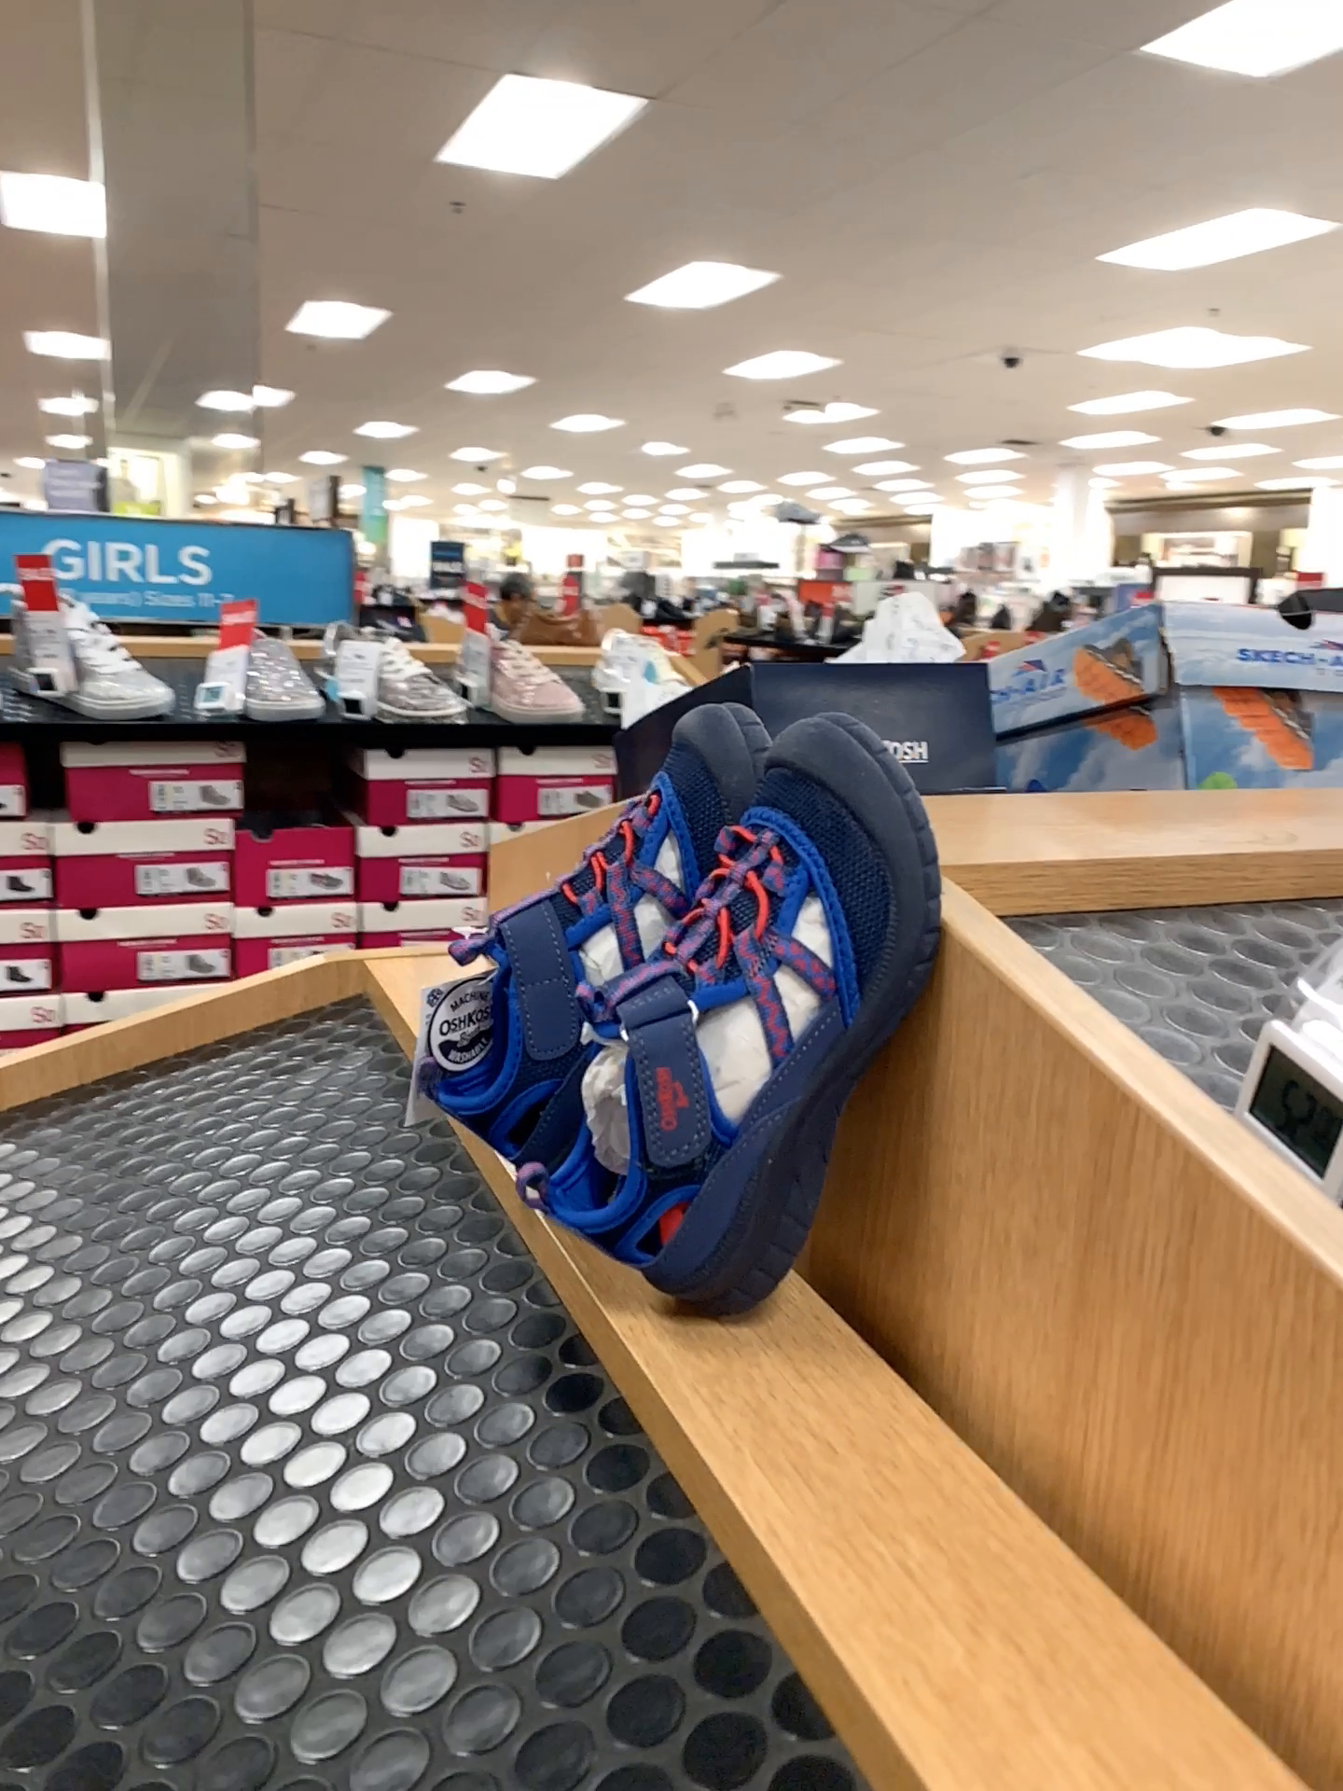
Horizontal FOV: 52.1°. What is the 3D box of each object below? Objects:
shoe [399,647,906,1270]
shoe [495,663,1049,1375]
[{"bbox_3d":[-0.011,0.020,0.498,0.100,0.190,0.080,20,4,-23],"label":"shoe"},{"bbox_3d":[0.026,0.034,0.426,0.080,0.190,0.080,20,3,-25],"label":"shoe"}]
